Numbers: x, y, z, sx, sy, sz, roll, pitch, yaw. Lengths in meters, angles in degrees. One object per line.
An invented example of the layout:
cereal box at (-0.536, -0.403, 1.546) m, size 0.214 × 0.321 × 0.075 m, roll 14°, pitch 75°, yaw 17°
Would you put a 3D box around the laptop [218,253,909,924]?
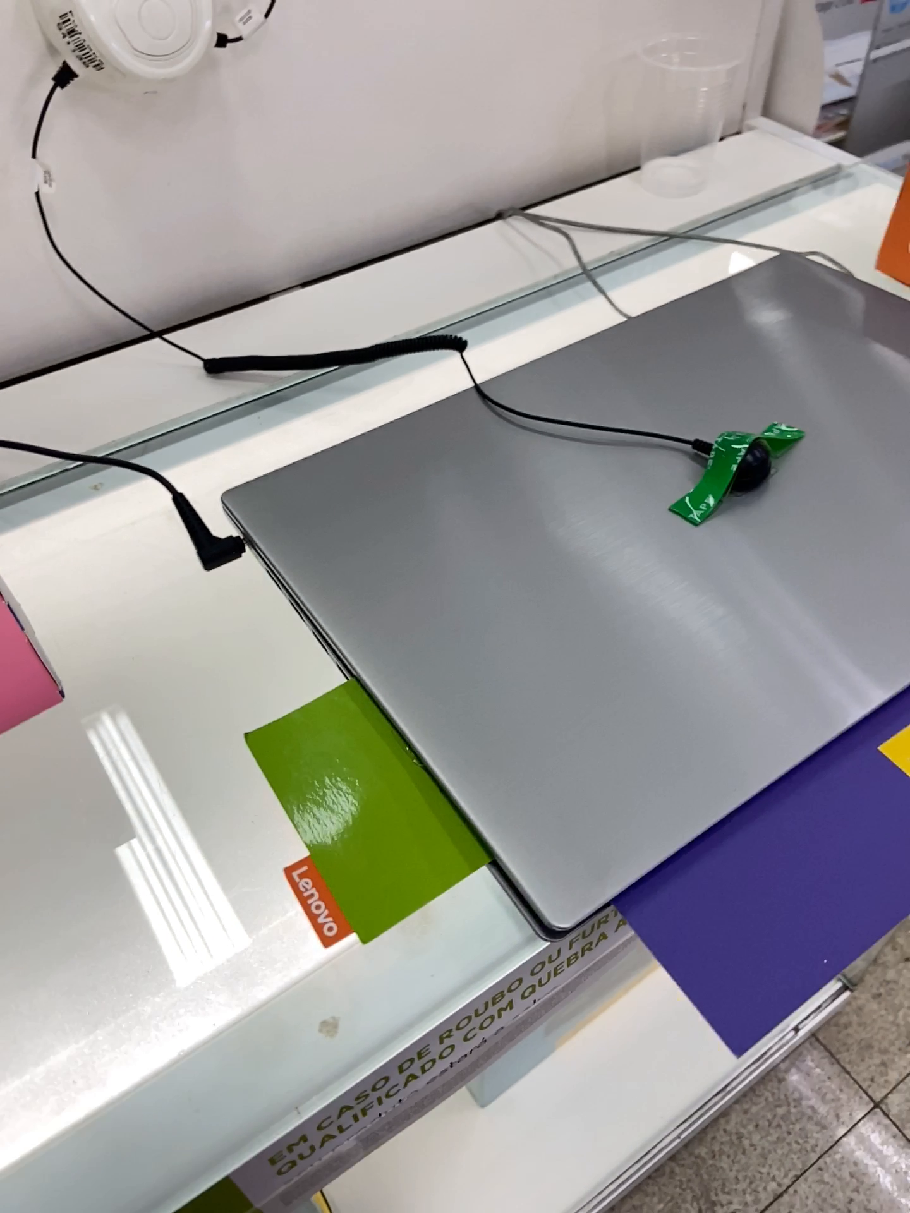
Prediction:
laptop at (0.112, -0.056, 0.415) m, size 0.362 × 0.001 × 0.240 m, roll -28°, pitch 53°, yaw -21°
